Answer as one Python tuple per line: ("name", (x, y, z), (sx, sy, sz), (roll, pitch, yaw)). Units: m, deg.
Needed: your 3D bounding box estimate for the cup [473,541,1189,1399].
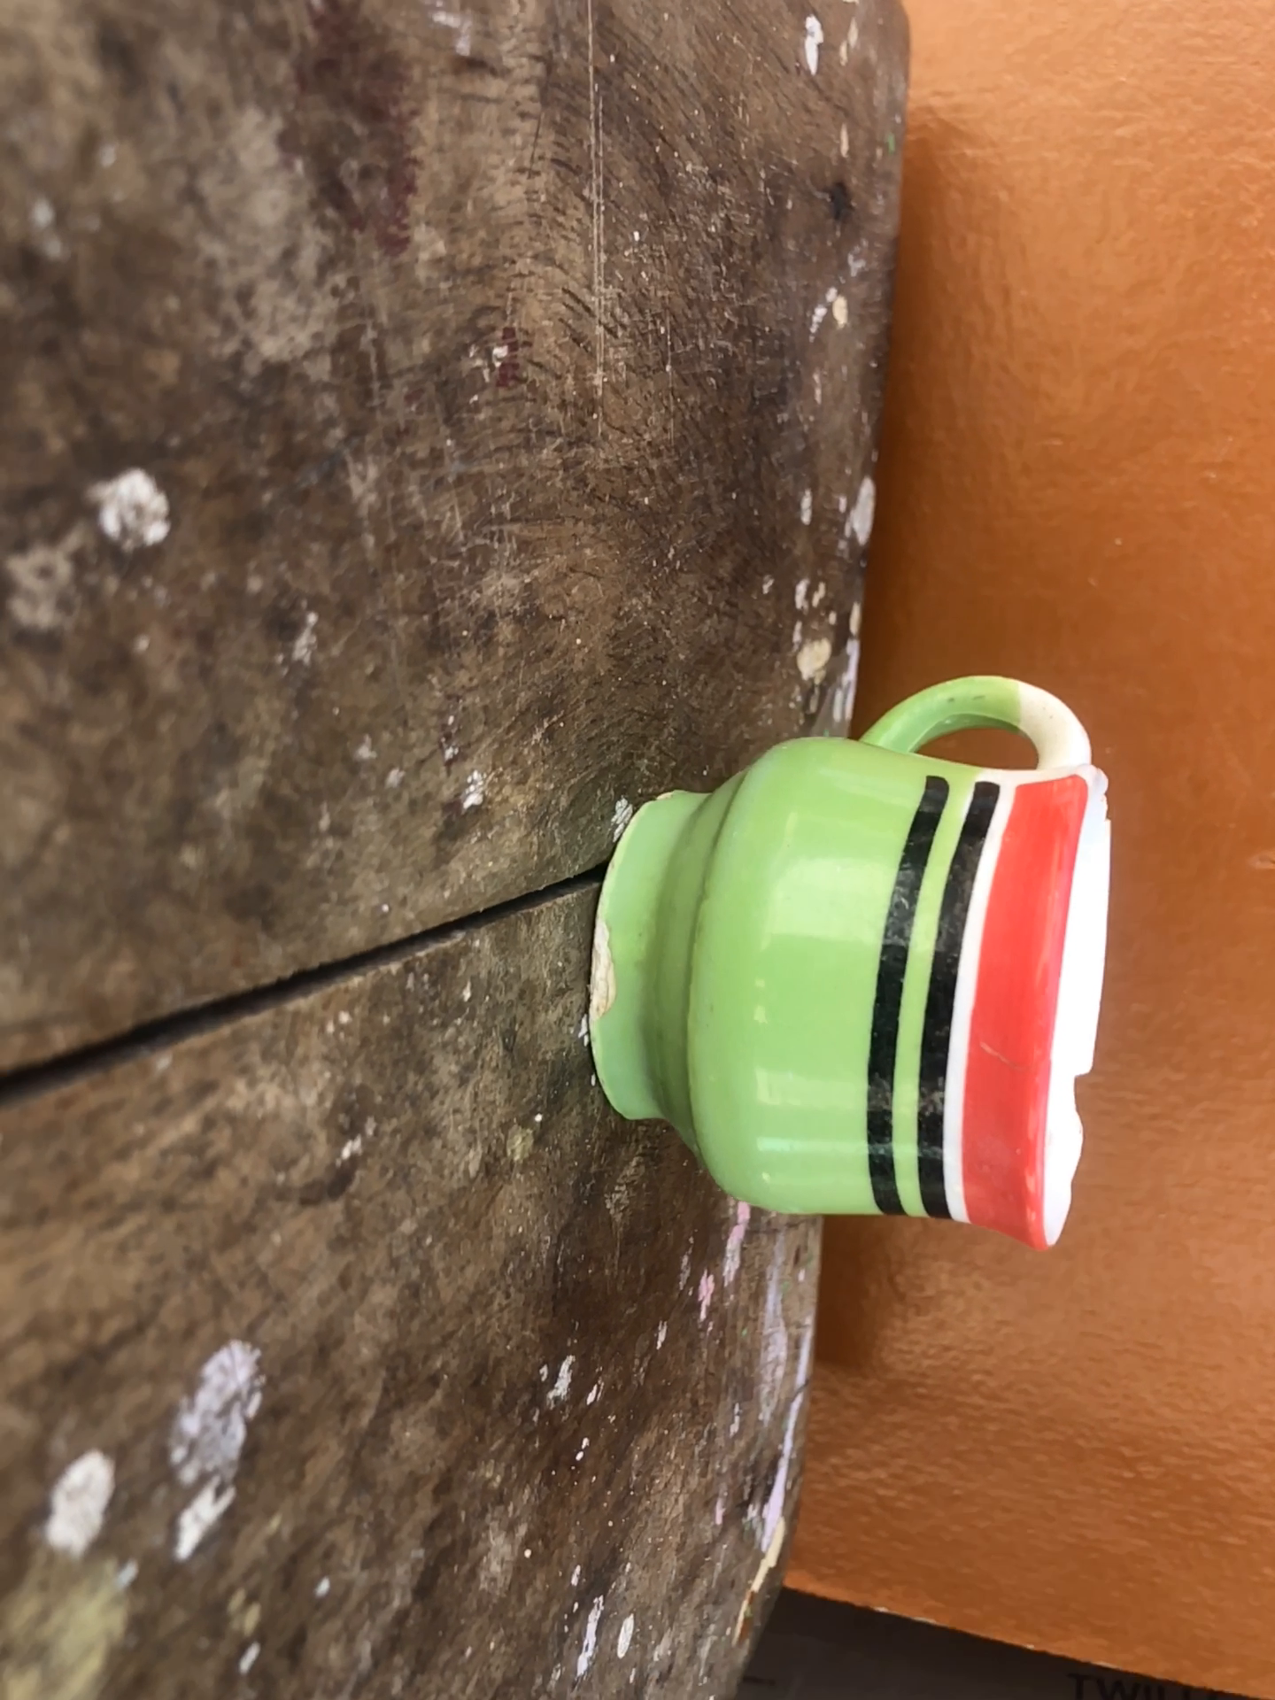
("cup", (0.034, 0.008, 0.194), (0.090, 0.070, 0.070), (-59, 147, -53))
